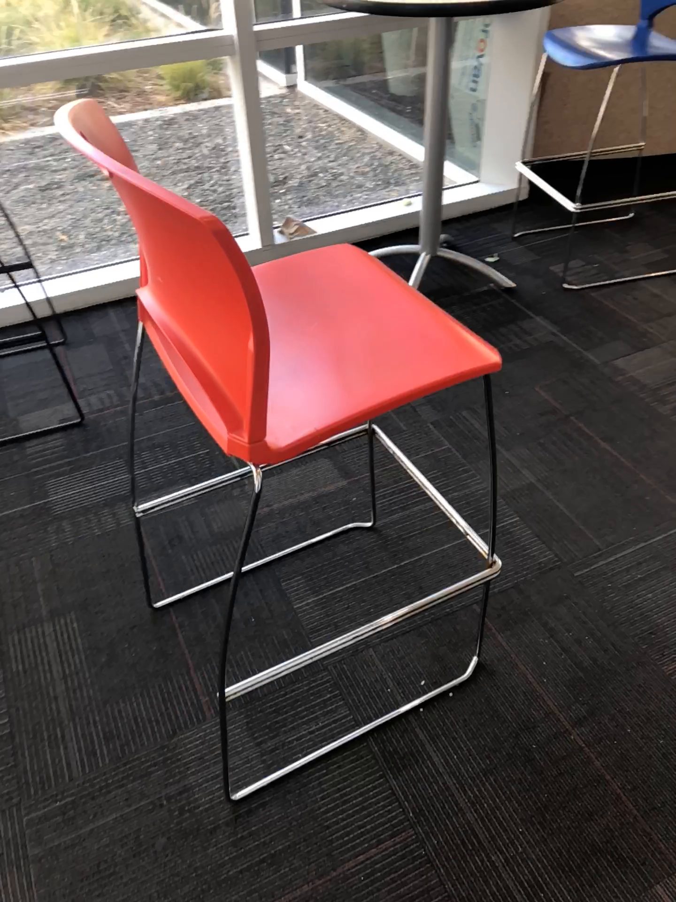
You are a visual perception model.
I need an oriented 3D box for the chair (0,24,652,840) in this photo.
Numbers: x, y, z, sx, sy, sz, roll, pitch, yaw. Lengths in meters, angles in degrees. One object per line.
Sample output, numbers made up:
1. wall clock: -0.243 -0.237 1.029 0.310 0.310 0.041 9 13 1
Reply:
1. chair: -0.074 -0.036 1.200 0.660 0.995 0.593 -21 42 -21
